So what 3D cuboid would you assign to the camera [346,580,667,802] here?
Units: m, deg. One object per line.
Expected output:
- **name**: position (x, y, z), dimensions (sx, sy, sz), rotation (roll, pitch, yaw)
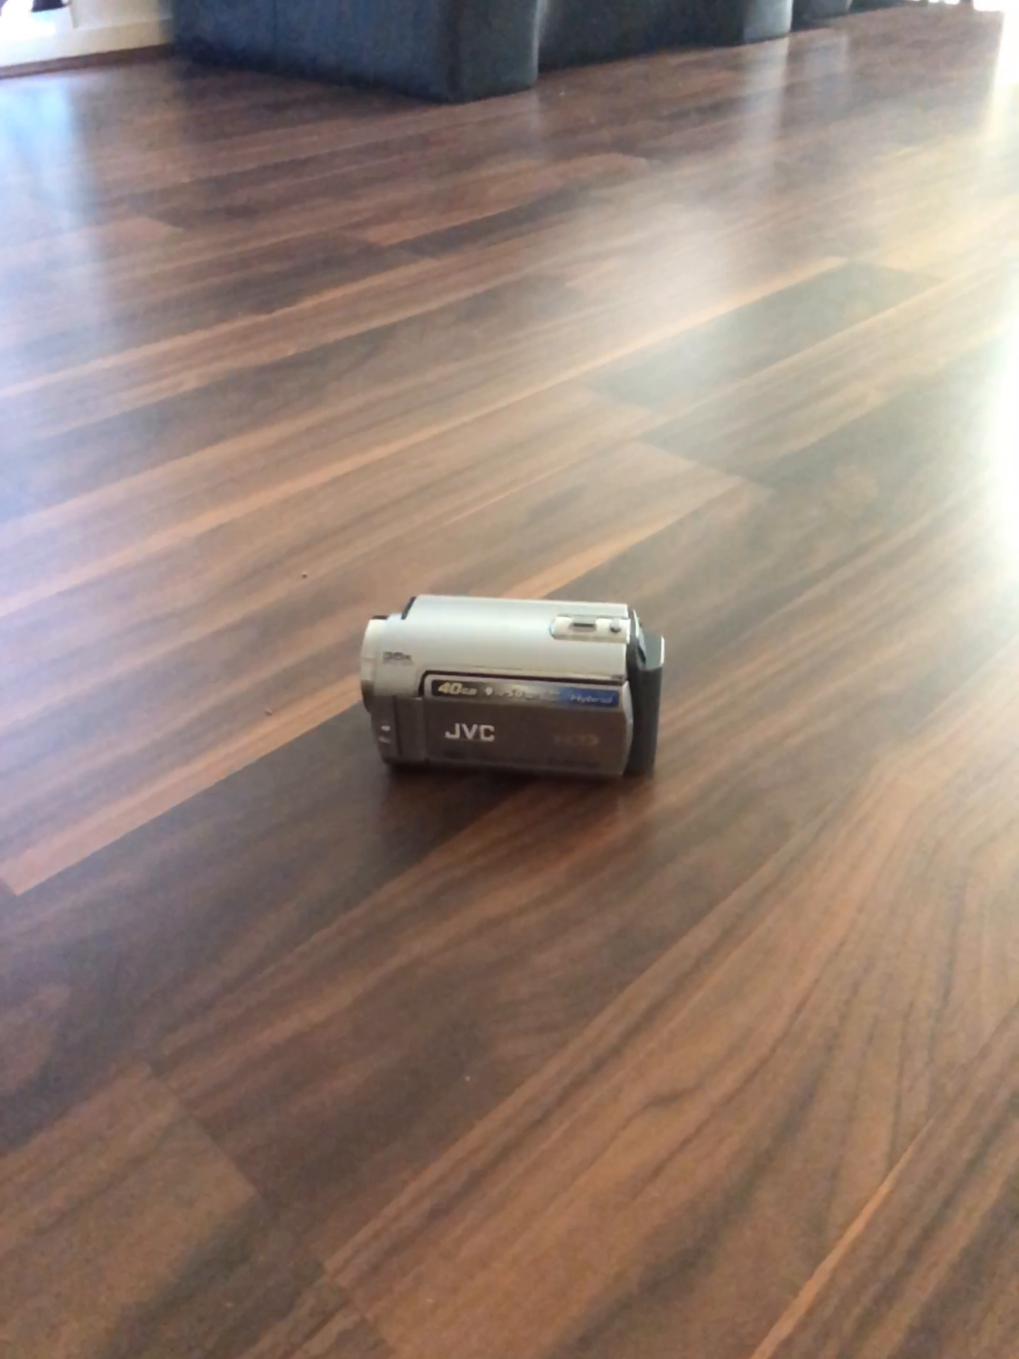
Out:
- **camera**: position (0.002, 0.003, 0.465), dimensions (0.120, 0.060, 0.060), rotation (4, 36, 9)
